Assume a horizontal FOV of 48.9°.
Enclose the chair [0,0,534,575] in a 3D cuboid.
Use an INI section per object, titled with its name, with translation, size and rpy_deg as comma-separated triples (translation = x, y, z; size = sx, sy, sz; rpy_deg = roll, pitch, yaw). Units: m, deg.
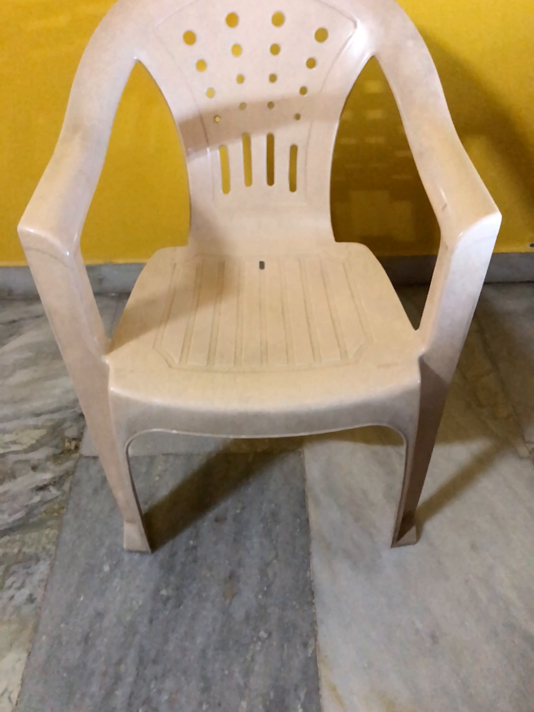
[chair]
translation = 0.004, -0.124, 0.889
size = 0.530, 0.784, 0.564
rpy_deg = -2, 45, 0
